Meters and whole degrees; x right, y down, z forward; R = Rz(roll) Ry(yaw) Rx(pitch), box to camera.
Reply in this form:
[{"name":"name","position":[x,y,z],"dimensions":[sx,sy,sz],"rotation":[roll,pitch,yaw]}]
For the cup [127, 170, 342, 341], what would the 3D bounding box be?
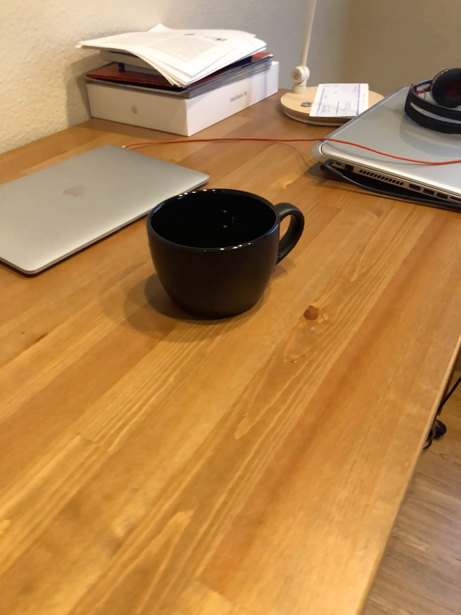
[{"name":"cup","position":[0.002,-0.059,0.497],"dimensions":[0.160,0.080,0.120],"rotation":[-20,40,-23]}]
